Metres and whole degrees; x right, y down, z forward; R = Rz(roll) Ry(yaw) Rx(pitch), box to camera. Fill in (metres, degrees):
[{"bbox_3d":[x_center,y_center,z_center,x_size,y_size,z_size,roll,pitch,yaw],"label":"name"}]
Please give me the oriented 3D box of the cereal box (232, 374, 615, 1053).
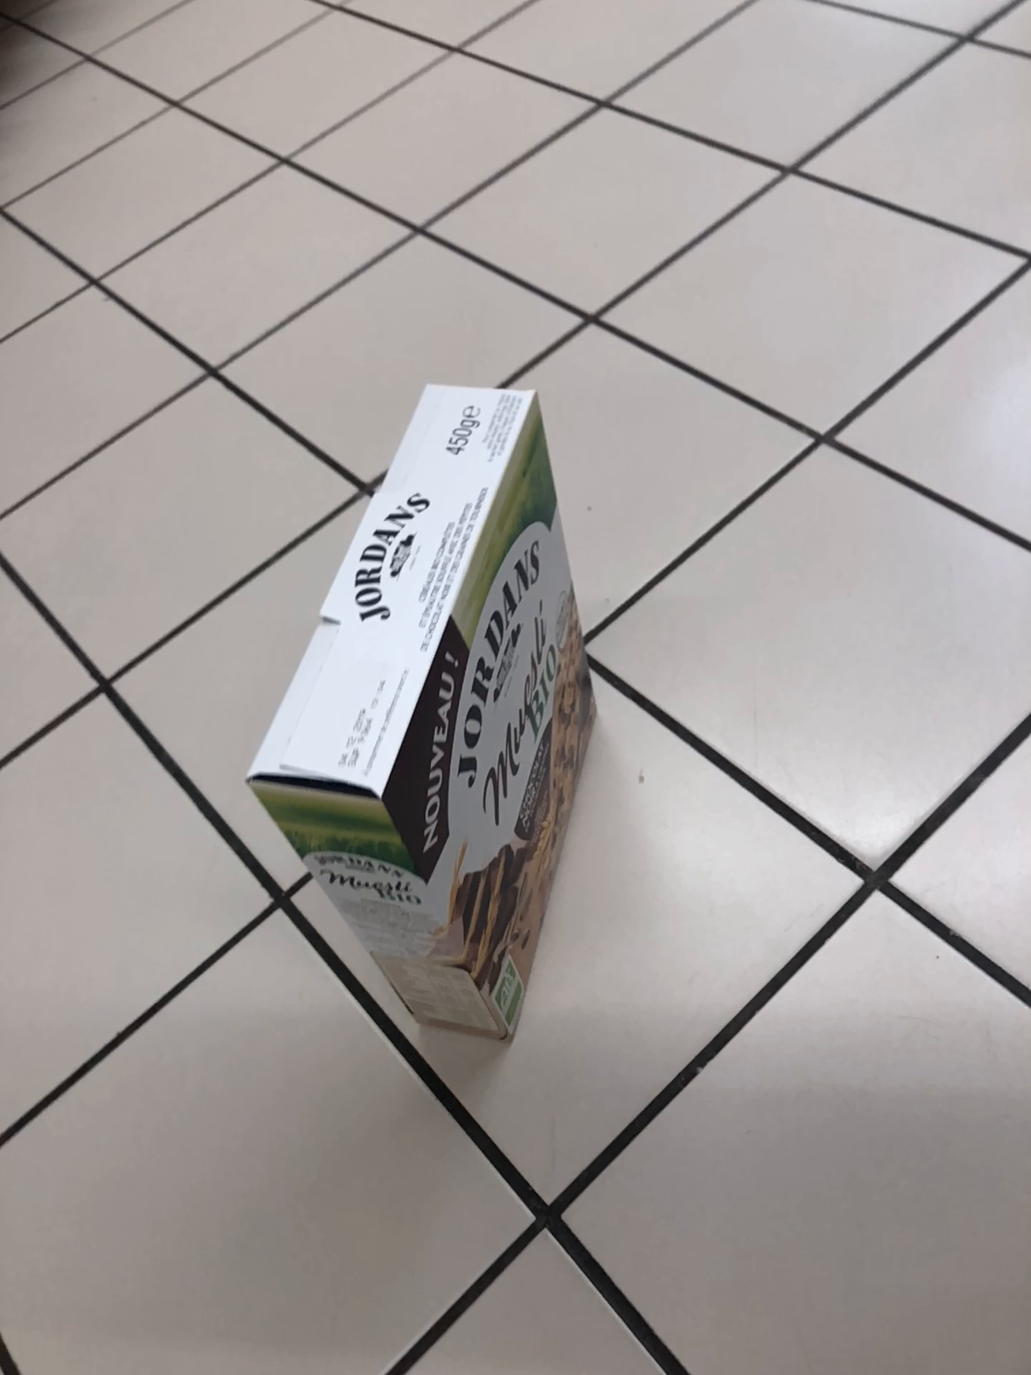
[{"bbox_3d":[-0.017,0.018,0.468,0.050,0.209,0.191,6,56,18],"label":"cereal box"}]
